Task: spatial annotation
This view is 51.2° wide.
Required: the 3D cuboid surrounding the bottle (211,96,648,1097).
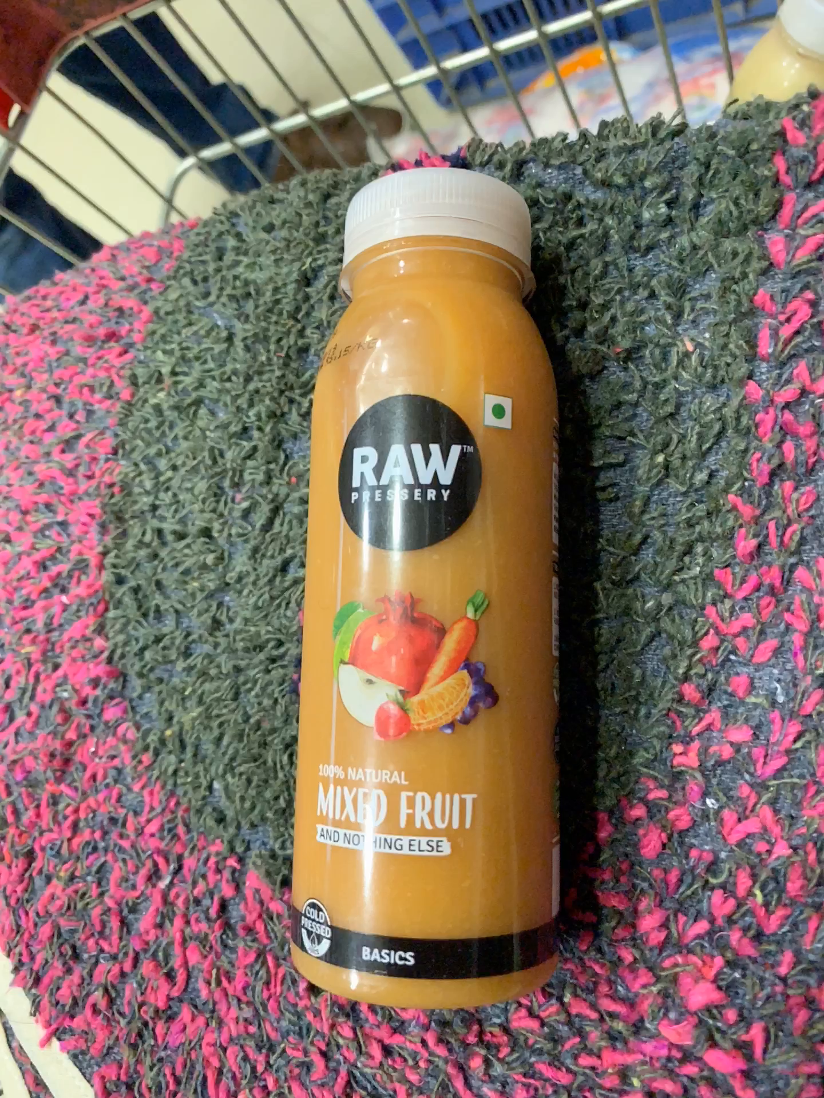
[{"bbox_3d":[0.009,0.006,0.160,0.060,0.060,0.150,1,81,10],"label":"bottle"}]
